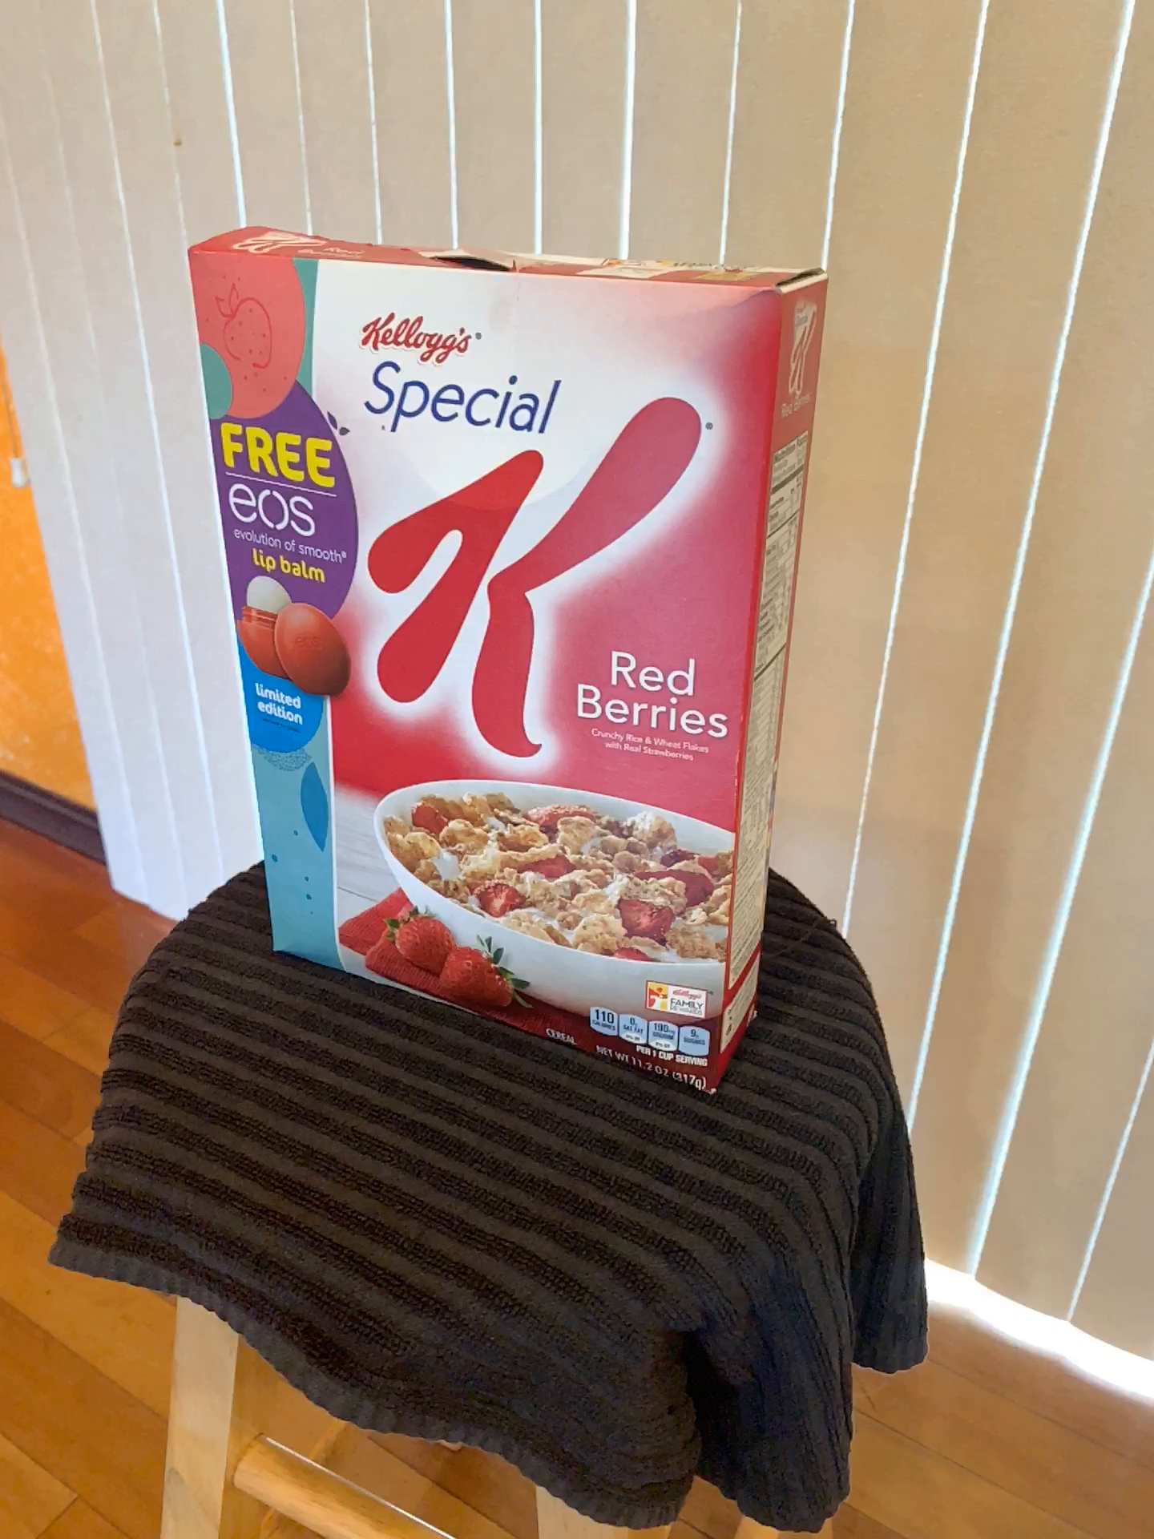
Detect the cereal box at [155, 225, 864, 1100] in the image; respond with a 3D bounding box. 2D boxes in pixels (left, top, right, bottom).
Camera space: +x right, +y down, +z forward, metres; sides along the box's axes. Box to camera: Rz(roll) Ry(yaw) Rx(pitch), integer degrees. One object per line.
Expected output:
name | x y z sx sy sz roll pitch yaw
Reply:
cereal box | -0.028 -0.035 0.414 0.210 0.268 0.050 13 30 21
